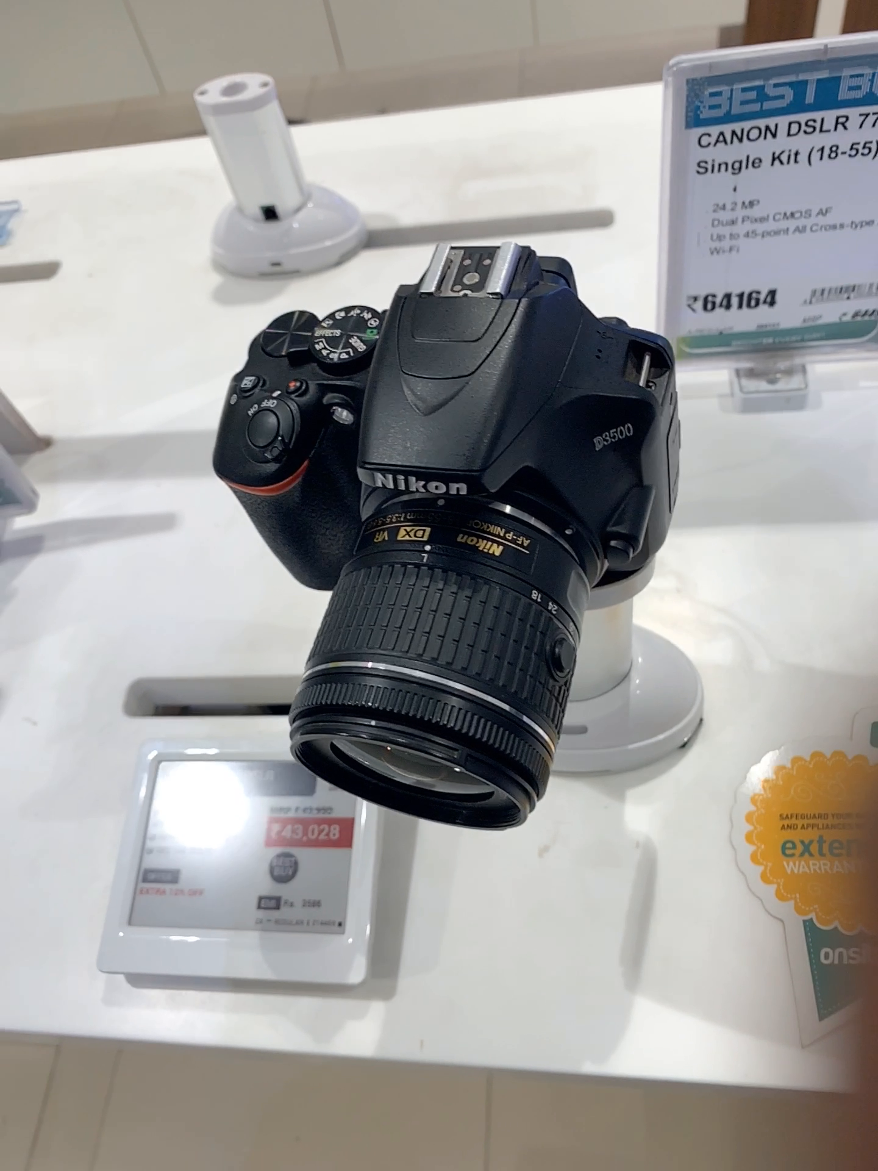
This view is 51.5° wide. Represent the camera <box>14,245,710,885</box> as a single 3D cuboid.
[{"bbox_3d":[-0.003,-0.006,0.210,0.110,0.090,0.103,7,58,16],"label":"camera"}]
